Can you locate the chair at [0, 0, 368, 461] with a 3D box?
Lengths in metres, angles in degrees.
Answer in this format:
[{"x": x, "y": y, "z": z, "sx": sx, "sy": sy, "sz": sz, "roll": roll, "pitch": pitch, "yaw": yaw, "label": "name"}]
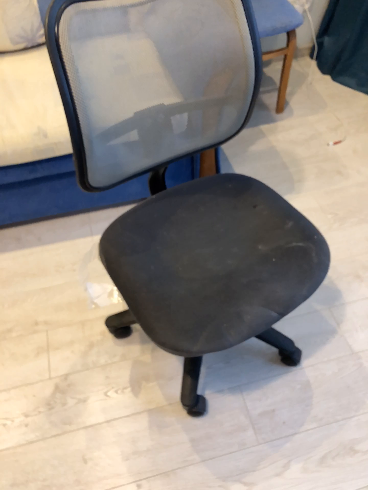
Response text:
[{"x": 0.041, "y": -0.059, "z": 0.821, "sx": 0.661, "sy": 0.736, "sz": 0.512, "roll": -23, "pitch": 55, "yaw": -15, "label": "chair"}]
